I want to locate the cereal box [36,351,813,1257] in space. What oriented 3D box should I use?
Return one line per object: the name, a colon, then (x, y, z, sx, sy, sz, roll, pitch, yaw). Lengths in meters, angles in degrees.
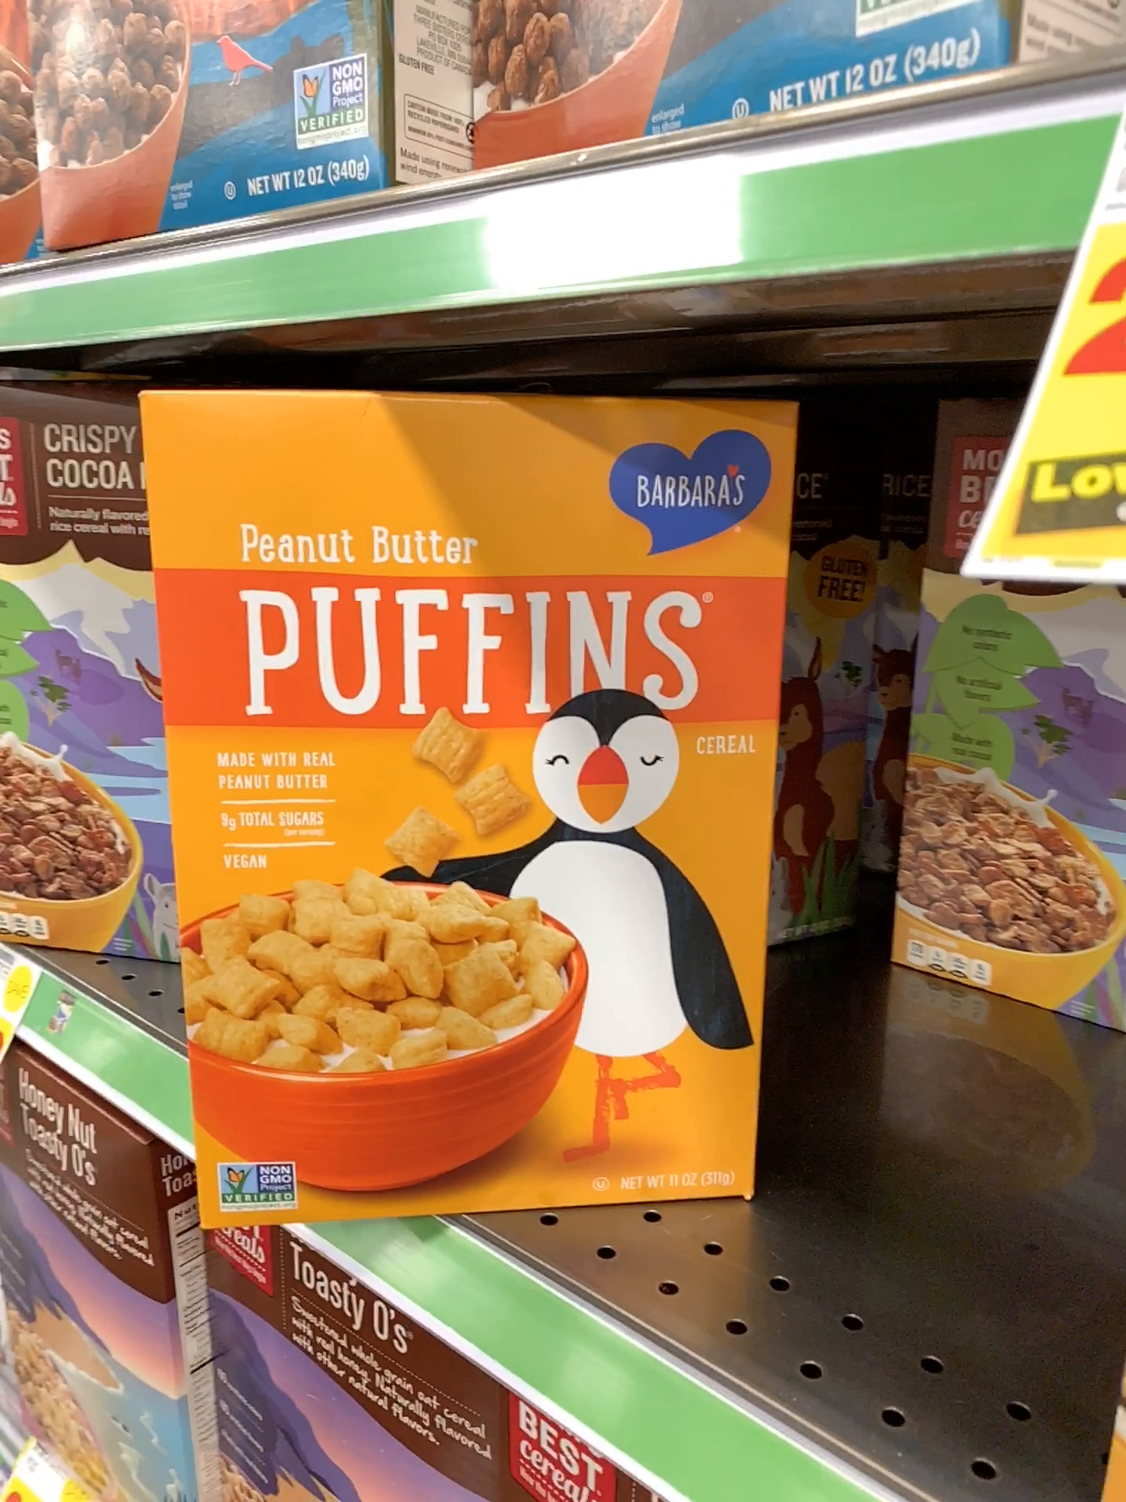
cereal box: (-0.042, 0.019, 0.390, 0.220, 0.279, 0.060, -1, 13, -9)
